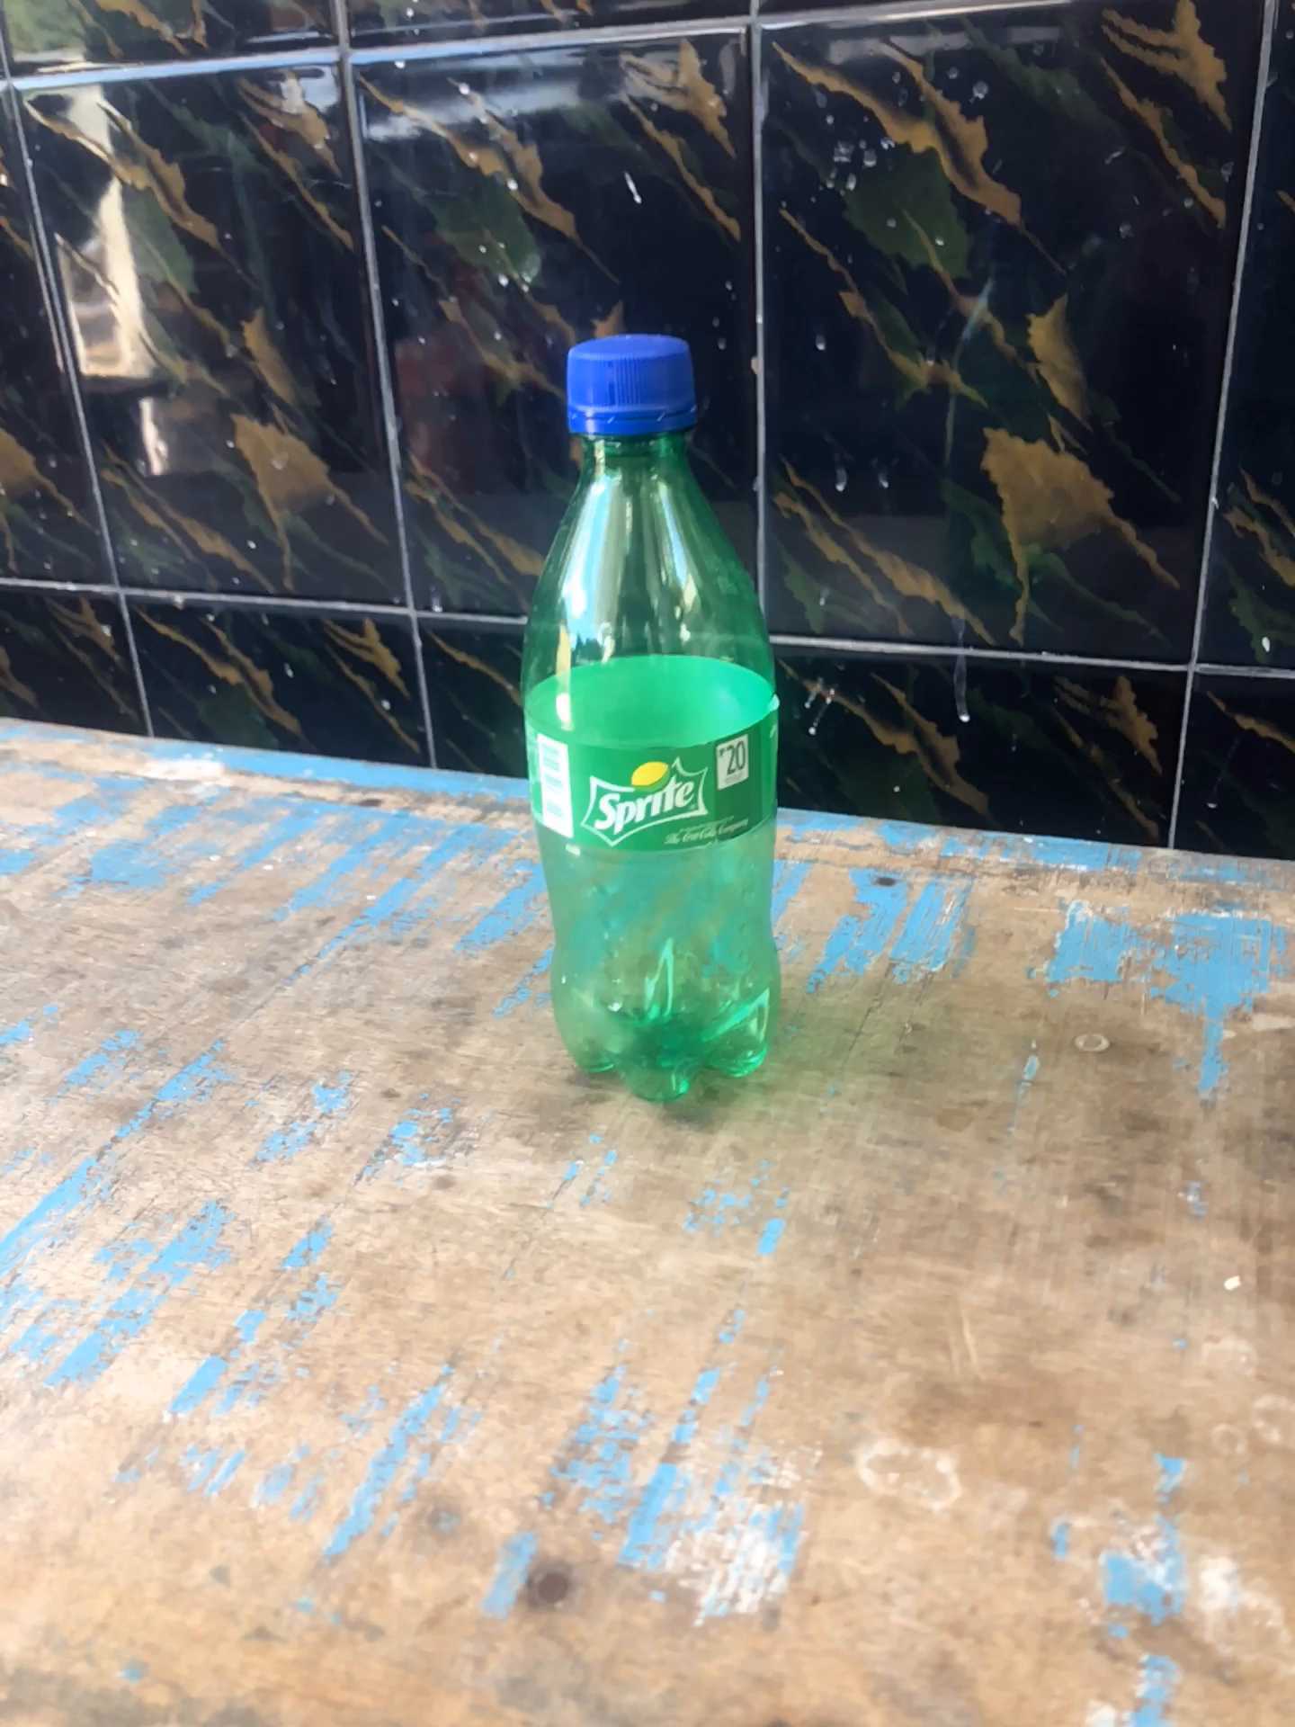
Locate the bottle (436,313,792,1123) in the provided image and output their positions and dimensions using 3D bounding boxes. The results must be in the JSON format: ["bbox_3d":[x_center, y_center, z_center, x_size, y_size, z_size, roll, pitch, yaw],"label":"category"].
[{"bbox_3d":[-0.005,-0.029,0.308,0.060,0.159,0.050,-7,26,-6],"label":"bottle"}]
